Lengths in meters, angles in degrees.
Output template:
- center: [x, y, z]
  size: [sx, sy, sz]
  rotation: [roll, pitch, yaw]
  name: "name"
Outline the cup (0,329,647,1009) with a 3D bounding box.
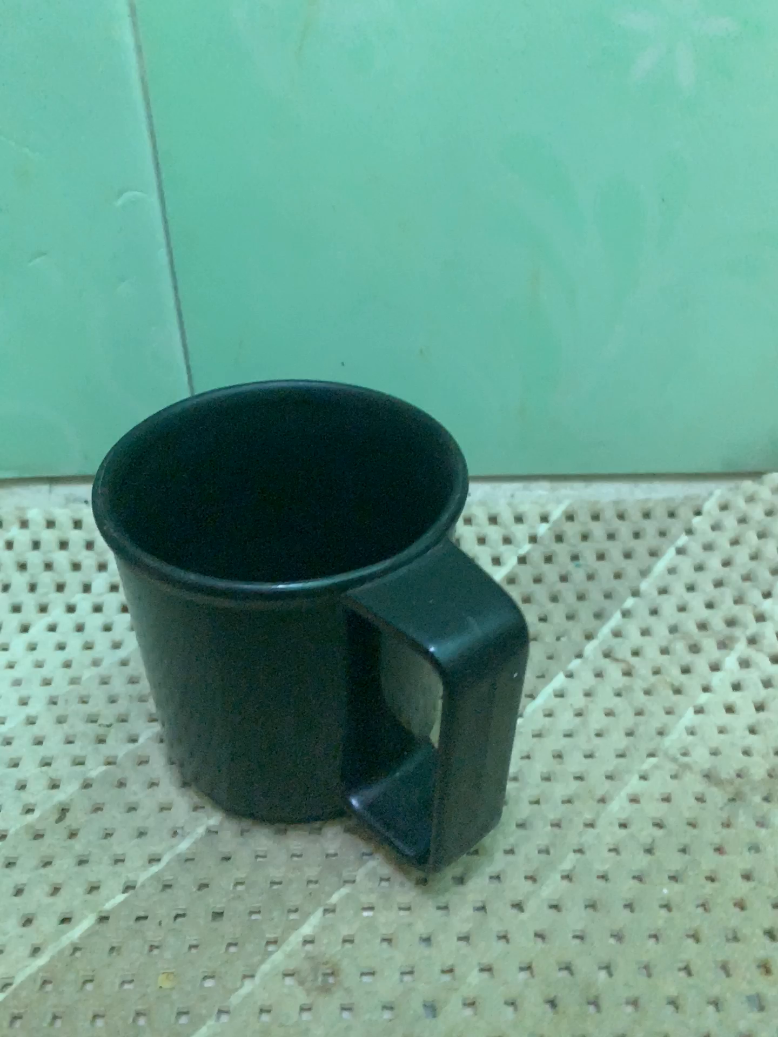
- center: [-0.019, 0.022, 0.196]
  size: [0.090, 0.082, 0.112]
  rotation: [-27, 44, -31]
  name: "cup"
